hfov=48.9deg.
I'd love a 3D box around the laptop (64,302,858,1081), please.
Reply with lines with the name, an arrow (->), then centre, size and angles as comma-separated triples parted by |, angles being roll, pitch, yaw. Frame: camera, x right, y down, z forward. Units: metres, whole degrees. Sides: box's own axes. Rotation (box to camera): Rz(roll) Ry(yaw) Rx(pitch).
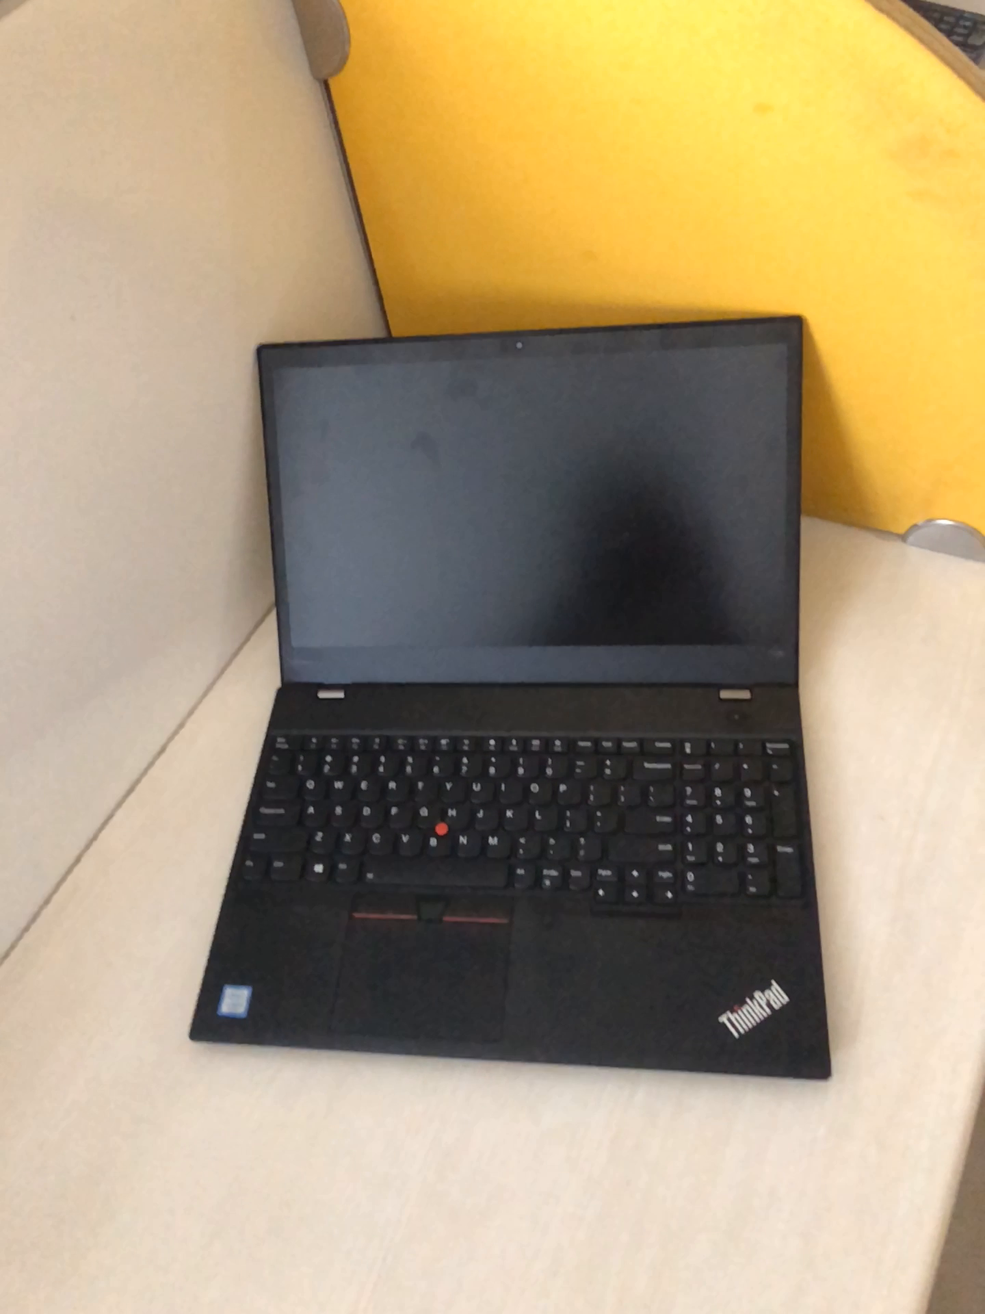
laptop -> 0.003, -0.003, 0.640 | 0.344, 0.150, 0.421 | 0, 55, 8
